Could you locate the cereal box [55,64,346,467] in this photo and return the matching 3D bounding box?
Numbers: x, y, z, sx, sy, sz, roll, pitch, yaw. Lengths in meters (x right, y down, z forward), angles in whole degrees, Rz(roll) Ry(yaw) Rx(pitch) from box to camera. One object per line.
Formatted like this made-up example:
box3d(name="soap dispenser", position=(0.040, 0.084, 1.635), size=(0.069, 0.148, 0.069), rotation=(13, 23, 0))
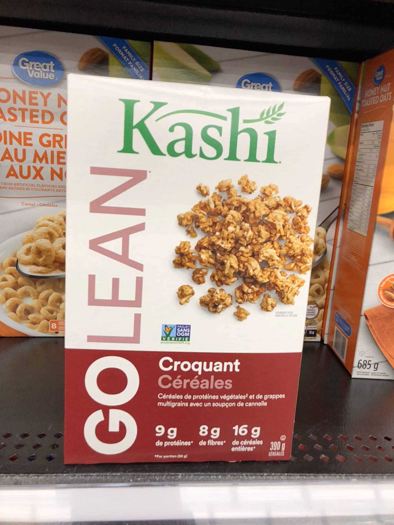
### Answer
box3d(name="cereal box", position=(-0.006, 0.012, 0.306), size=(0.170, 0.259, 0.050), rotation=(2, 13, -7))
